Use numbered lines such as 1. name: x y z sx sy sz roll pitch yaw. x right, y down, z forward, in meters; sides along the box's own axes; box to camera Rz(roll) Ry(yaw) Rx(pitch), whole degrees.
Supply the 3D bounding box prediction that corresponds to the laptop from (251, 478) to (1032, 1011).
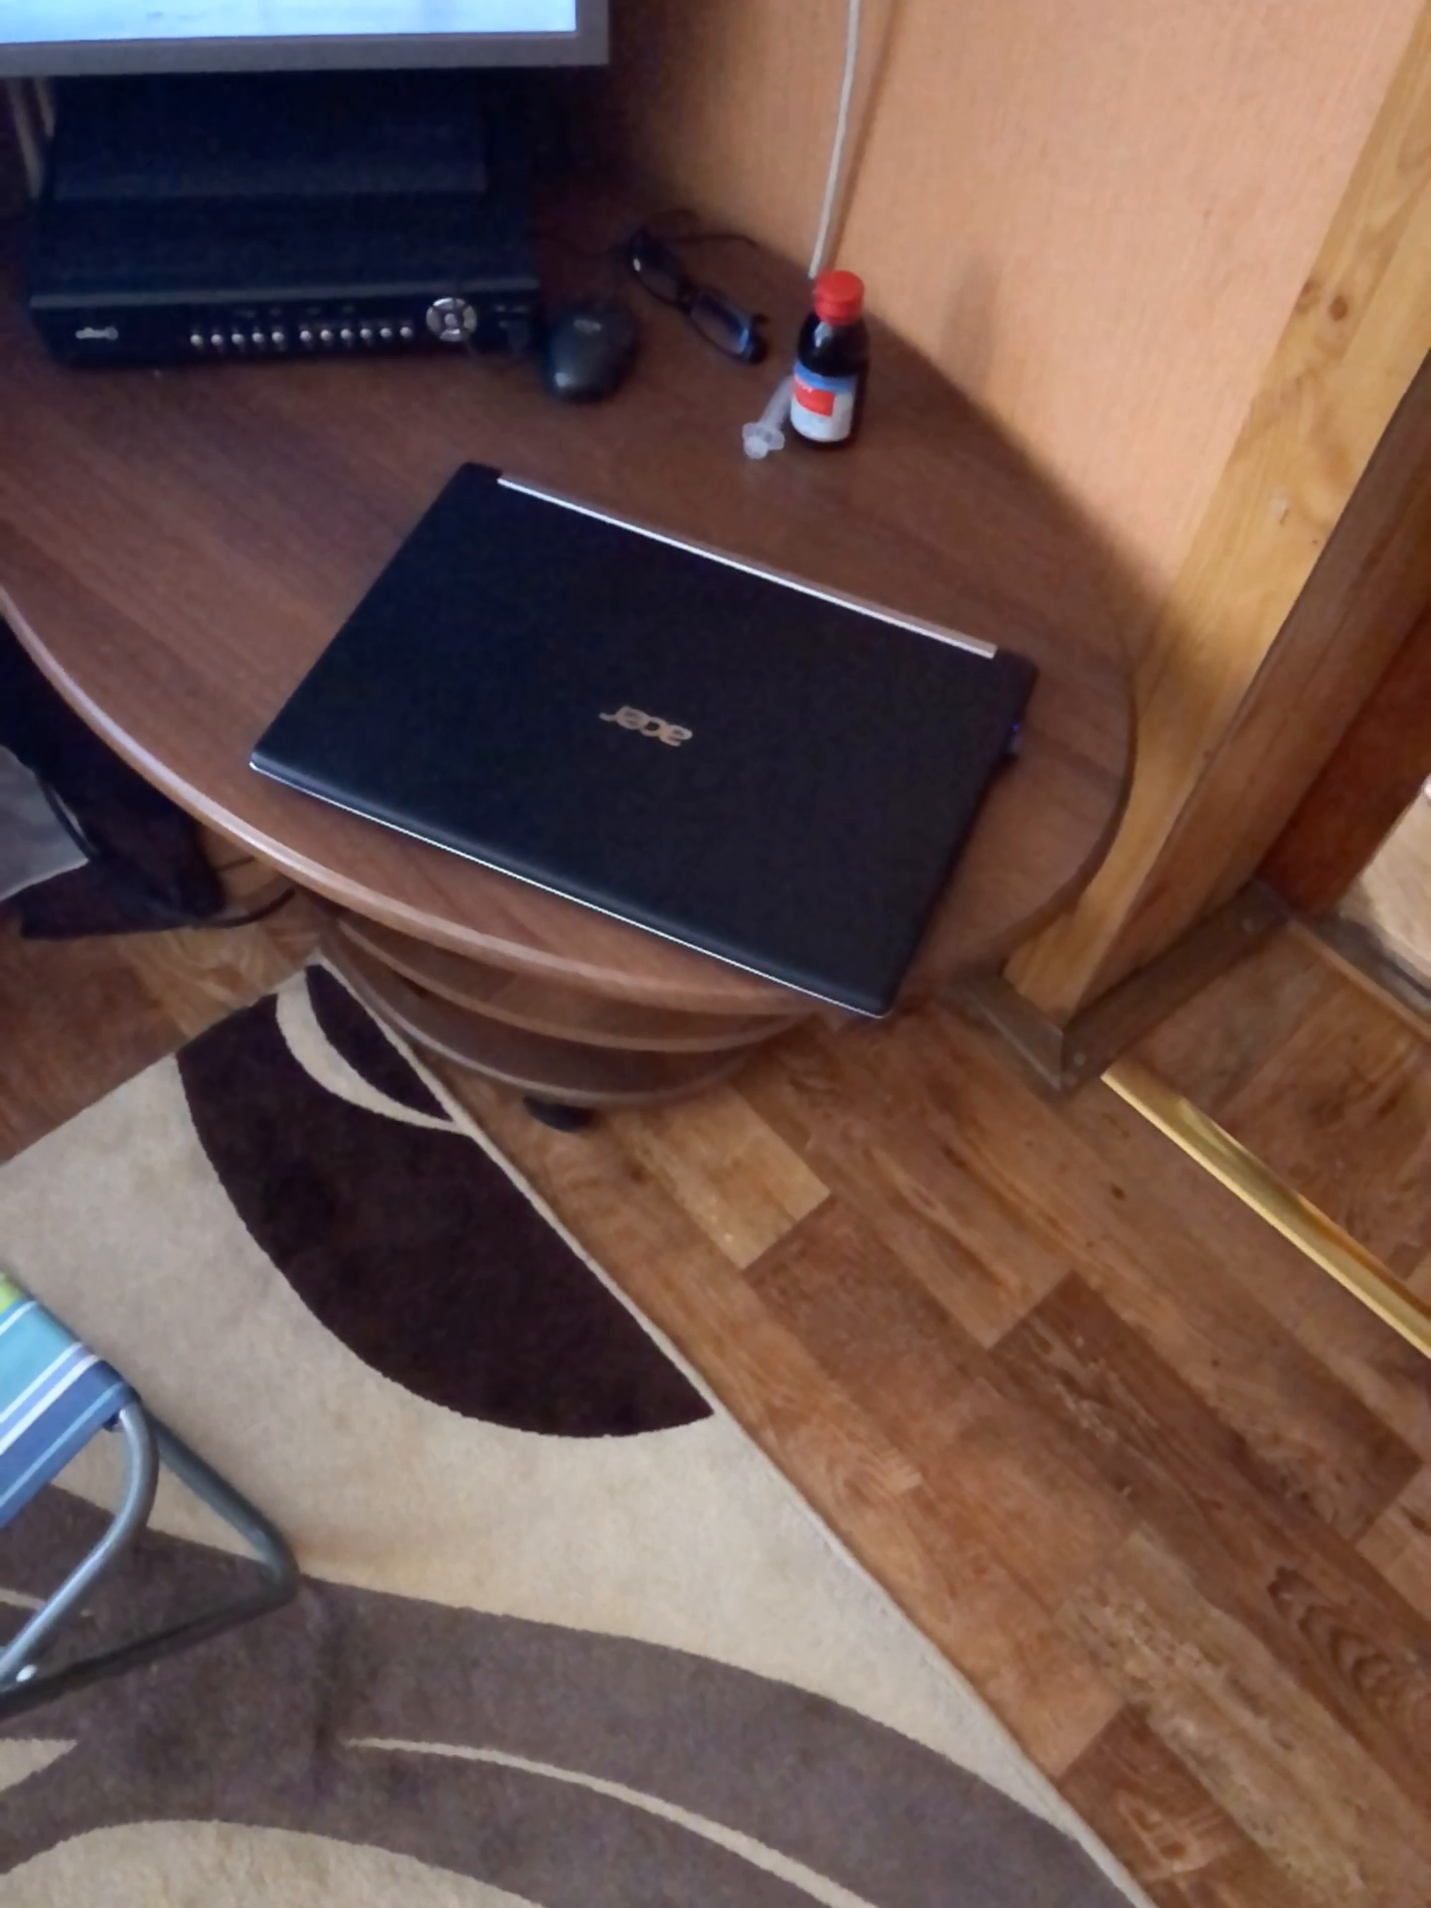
1. laptop: -0.034 -0.131 0.878 0.363 0.004 0.240 22 61 9
